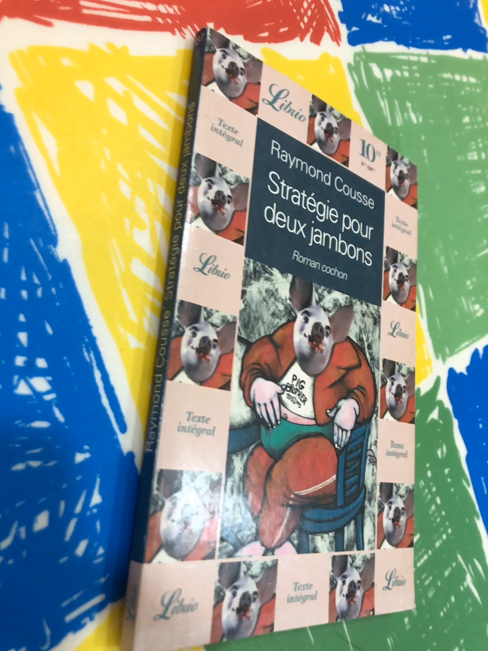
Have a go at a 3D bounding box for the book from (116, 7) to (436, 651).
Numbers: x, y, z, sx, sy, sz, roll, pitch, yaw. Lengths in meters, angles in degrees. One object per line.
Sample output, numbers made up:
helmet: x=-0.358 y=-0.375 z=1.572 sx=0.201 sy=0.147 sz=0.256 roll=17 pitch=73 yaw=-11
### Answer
book: x=0.029 y=0.004 z=0.202 sx=0.131 sy=0.013 sz=0.197 roll=15 pitch=73 yaw=-37
